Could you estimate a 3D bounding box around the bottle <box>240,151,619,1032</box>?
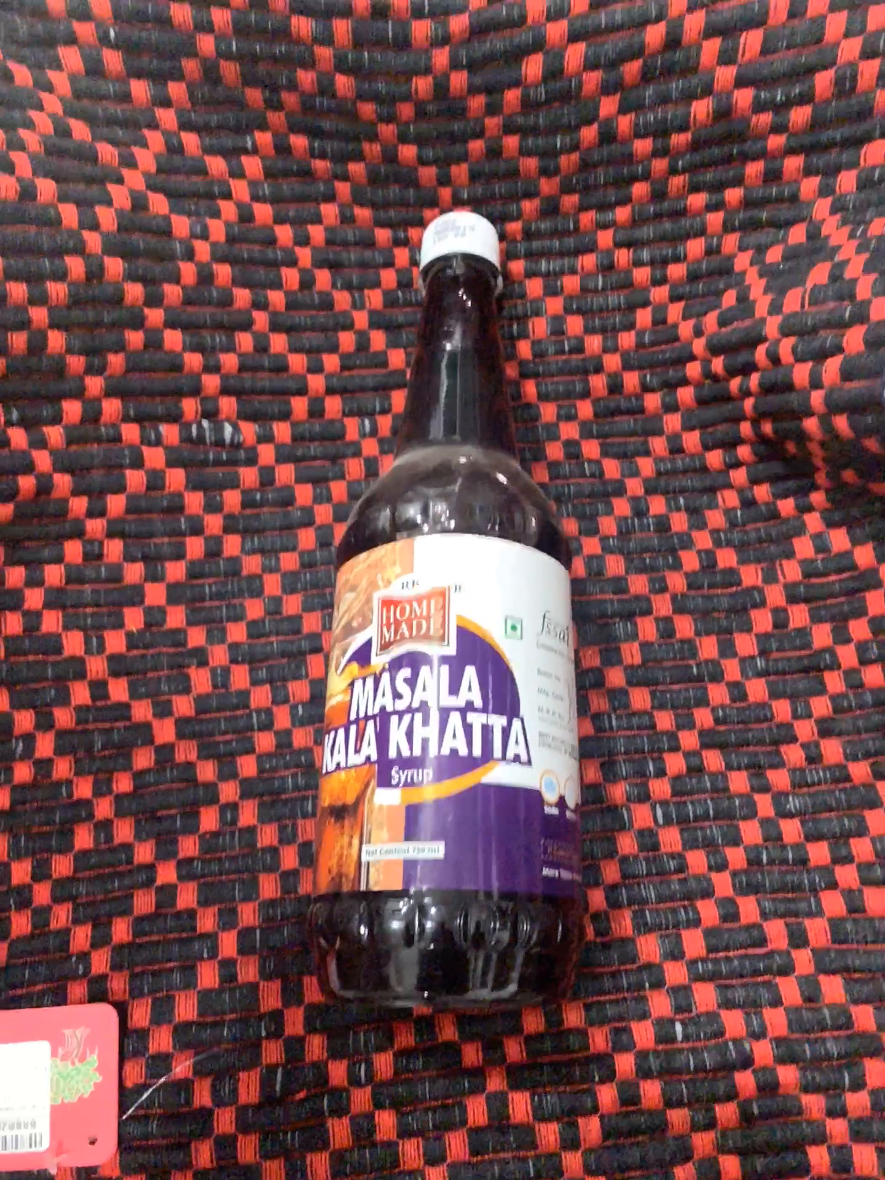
[{"bbox_3d":[0.002,-0.008,0.284,0.080,0.080,0.261,-2,64,6],"label":"bottle"}]
